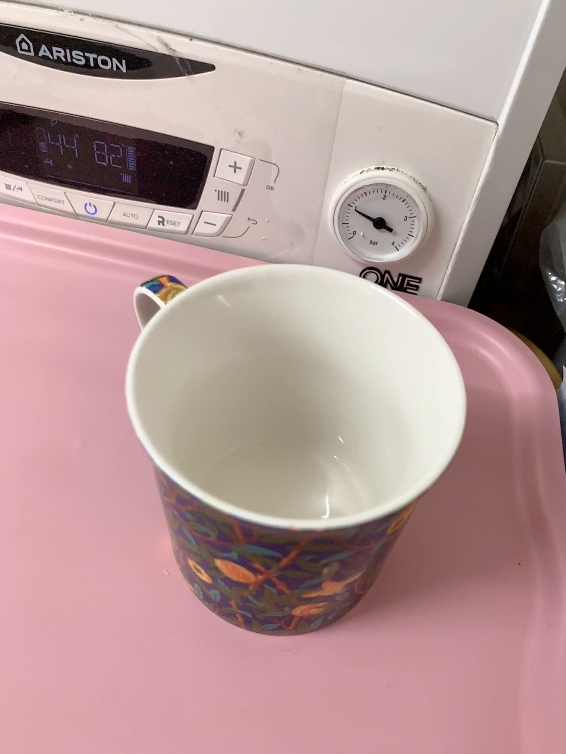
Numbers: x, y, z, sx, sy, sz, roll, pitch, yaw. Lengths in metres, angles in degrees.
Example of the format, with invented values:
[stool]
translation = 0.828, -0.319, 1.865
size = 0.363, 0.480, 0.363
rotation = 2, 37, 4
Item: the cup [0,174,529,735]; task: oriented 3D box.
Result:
[cup]
translation = -0.016, 0.012, 0.173
size = 0.080, 0.079, 0.121
rotation = -26, 54, -30
